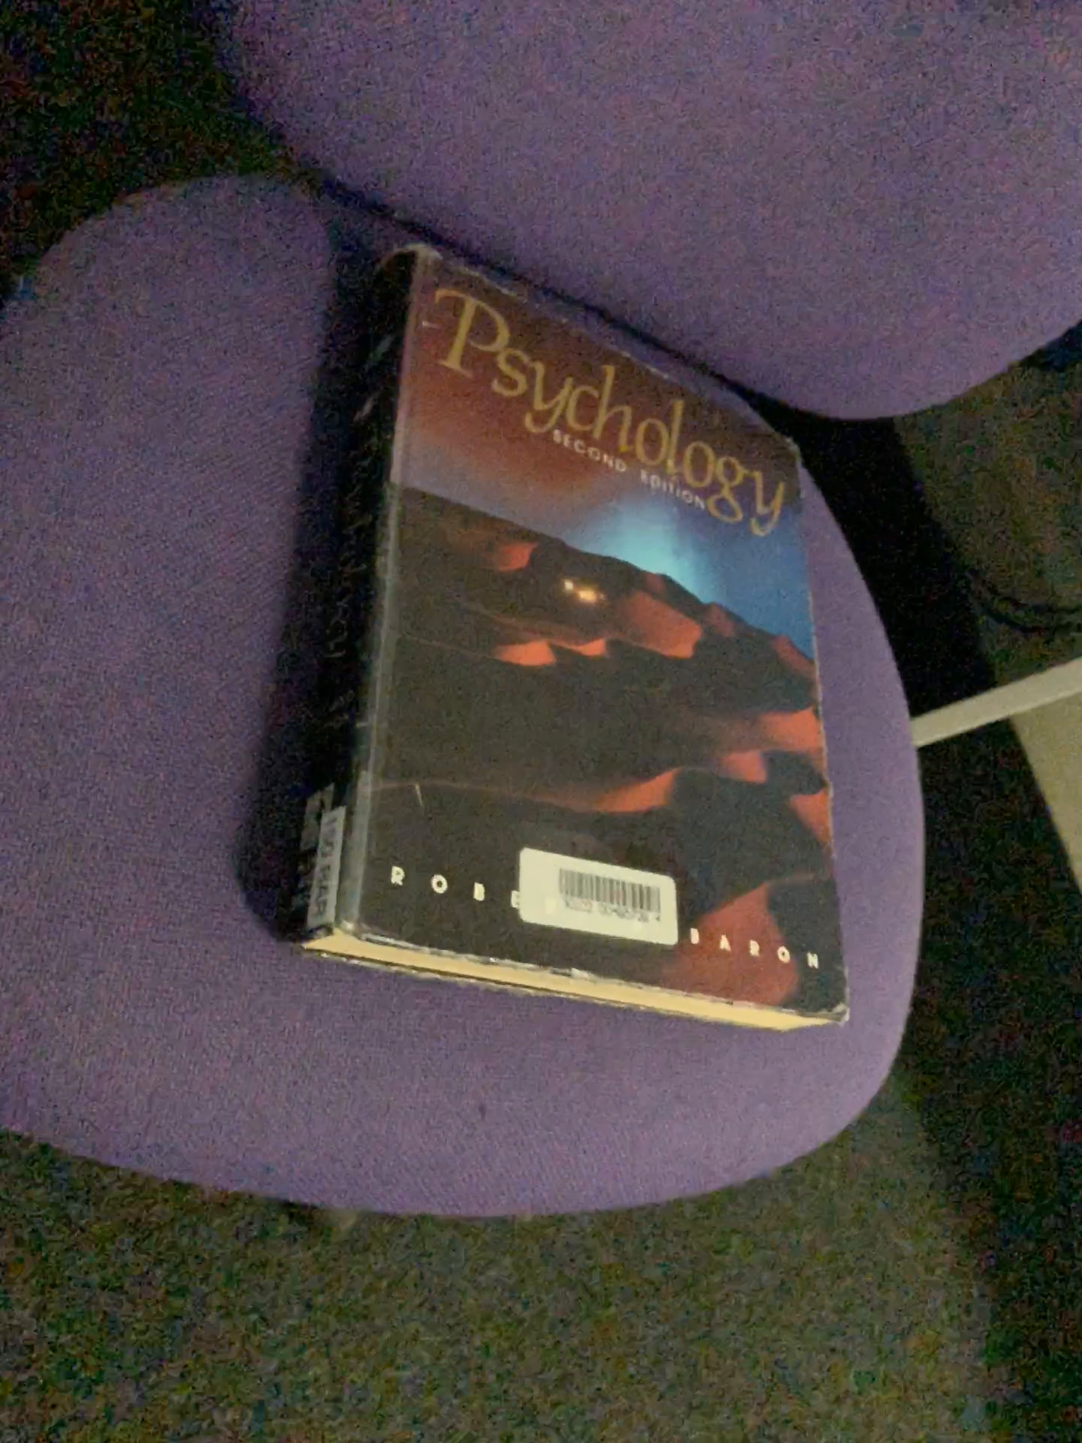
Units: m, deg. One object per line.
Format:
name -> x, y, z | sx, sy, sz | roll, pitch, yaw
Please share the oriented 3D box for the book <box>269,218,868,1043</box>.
book -> 0.028, -0.030, 0.449 | 0.230, 0.040, 0.281 | 18, 63, -30
